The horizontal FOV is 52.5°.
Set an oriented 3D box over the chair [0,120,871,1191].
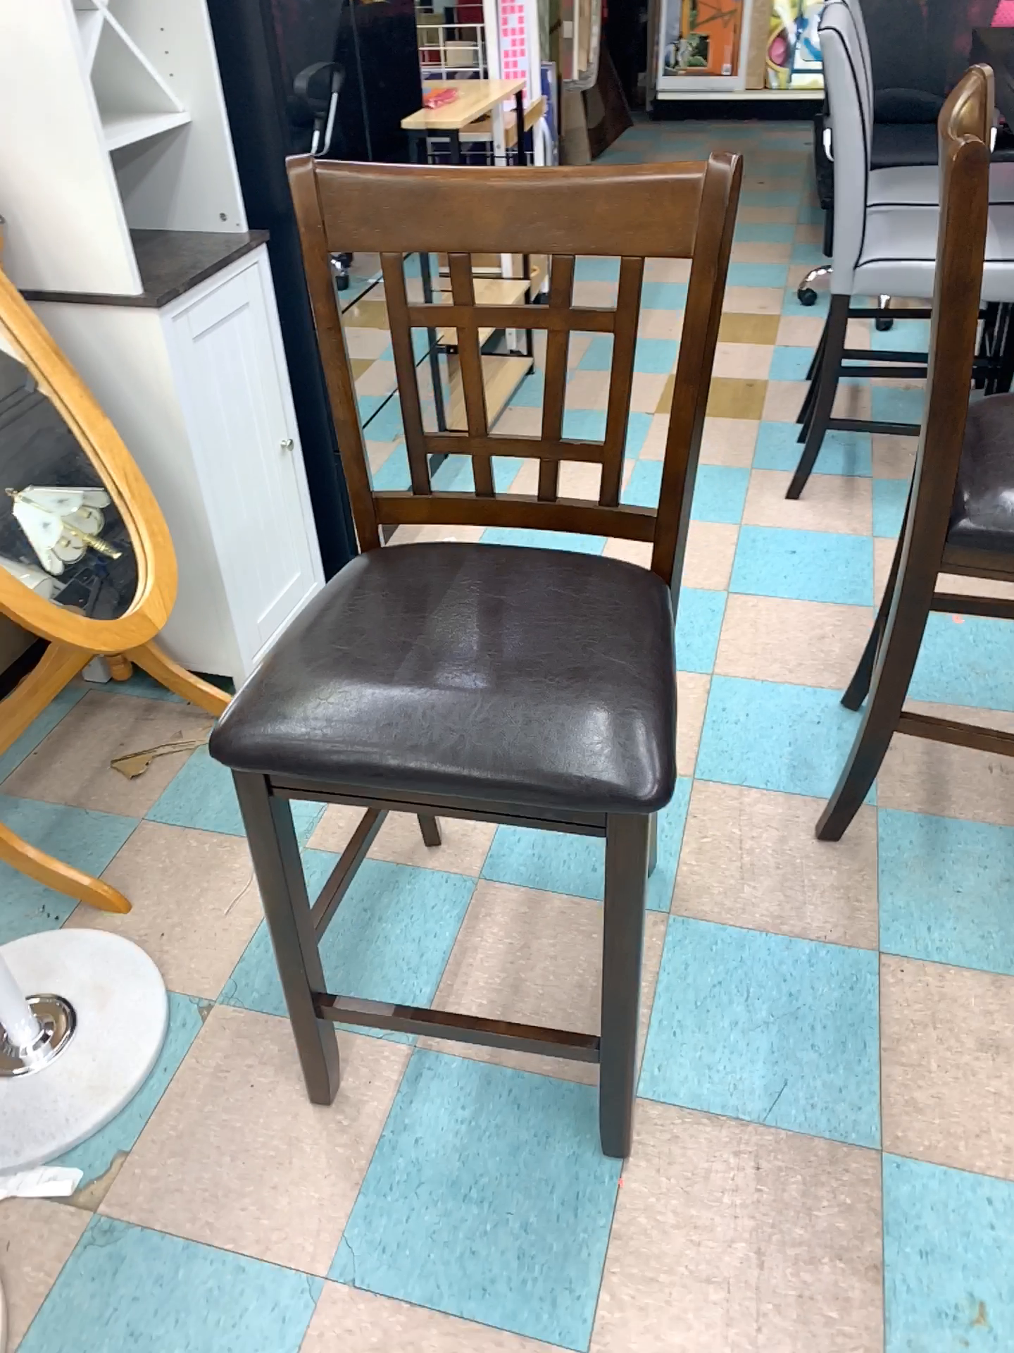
[{"bbox_3d":[0.014,-0.003,0.974,0.468,0.849,0.483,6,39,12],"label":"chair"}]
